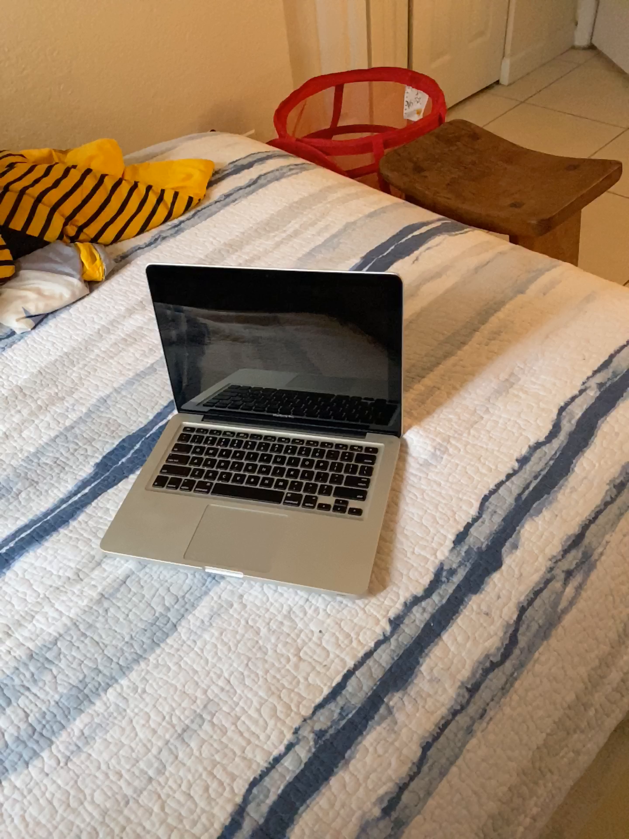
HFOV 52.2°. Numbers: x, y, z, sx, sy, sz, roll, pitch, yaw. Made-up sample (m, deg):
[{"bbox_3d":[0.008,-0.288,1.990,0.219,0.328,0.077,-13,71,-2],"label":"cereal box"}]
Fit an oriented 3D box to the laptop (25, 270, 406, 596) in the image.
[{"bbox_3d":[-0.076,-0.001,0.726,0.318,0.199,0.279,6,48,15],"label":"laptop"}]
